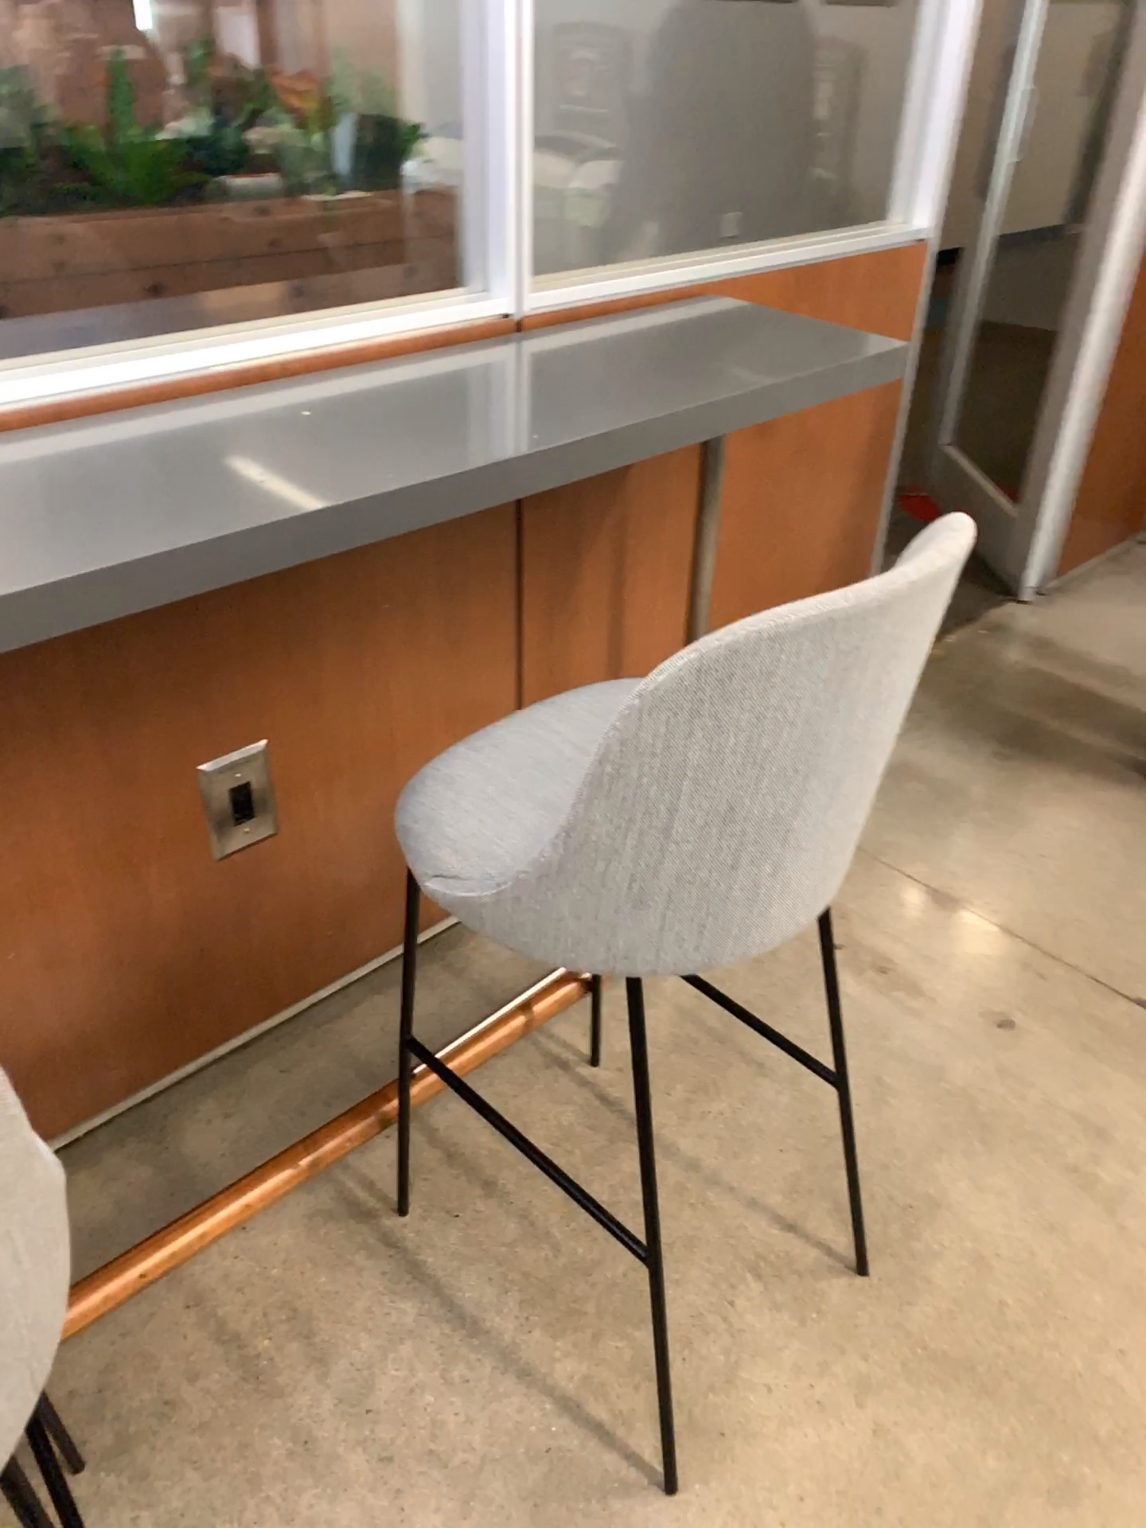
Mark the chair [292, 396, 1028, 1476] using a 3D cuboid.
[{"bbox_3d":[0.063,0.200,1.313,0.512,1.034,0.411,25,39,31],"label":"chair"}]
